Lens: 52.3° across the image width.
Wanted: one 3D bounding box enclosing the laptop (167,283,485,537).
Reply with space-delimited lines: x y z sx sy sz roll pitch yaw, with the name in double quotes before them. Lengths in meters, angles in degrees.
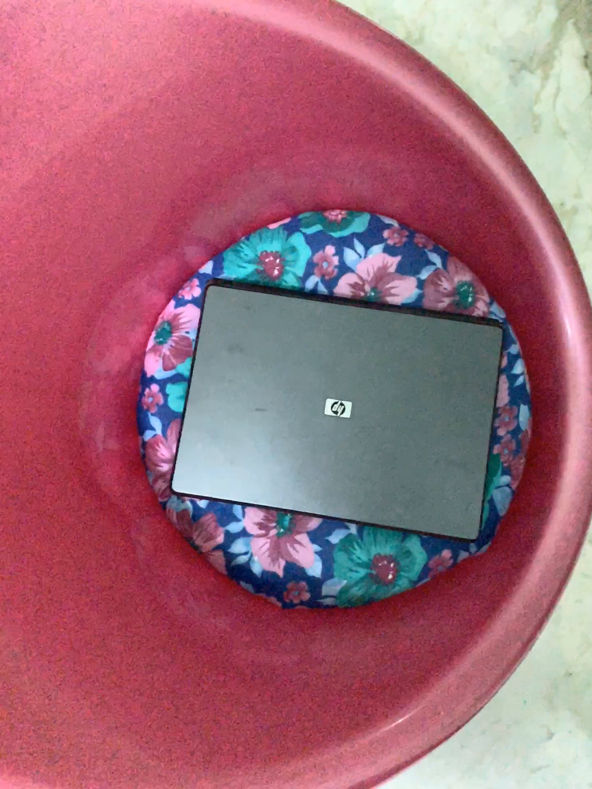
"laptop" 0.035 0.015 0.627 0.303 0.003 0.222 8 85 -1
